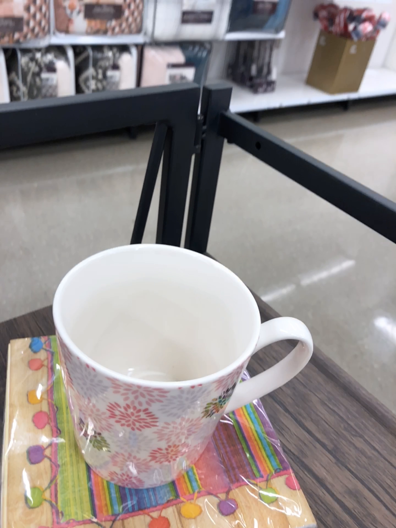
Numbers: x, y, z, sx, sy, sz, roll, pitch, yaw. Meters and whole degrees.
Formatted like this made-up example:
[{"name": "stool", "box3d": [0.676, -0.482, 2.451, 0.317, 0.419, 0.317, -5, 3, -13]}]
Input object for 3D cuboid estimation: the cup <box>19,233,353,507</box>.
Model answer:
[{"name": "cup", "box3d": [-0.015, 0.053, 0.251, 0.140, 0.100, 0.100, -1, 39, -13]}]
